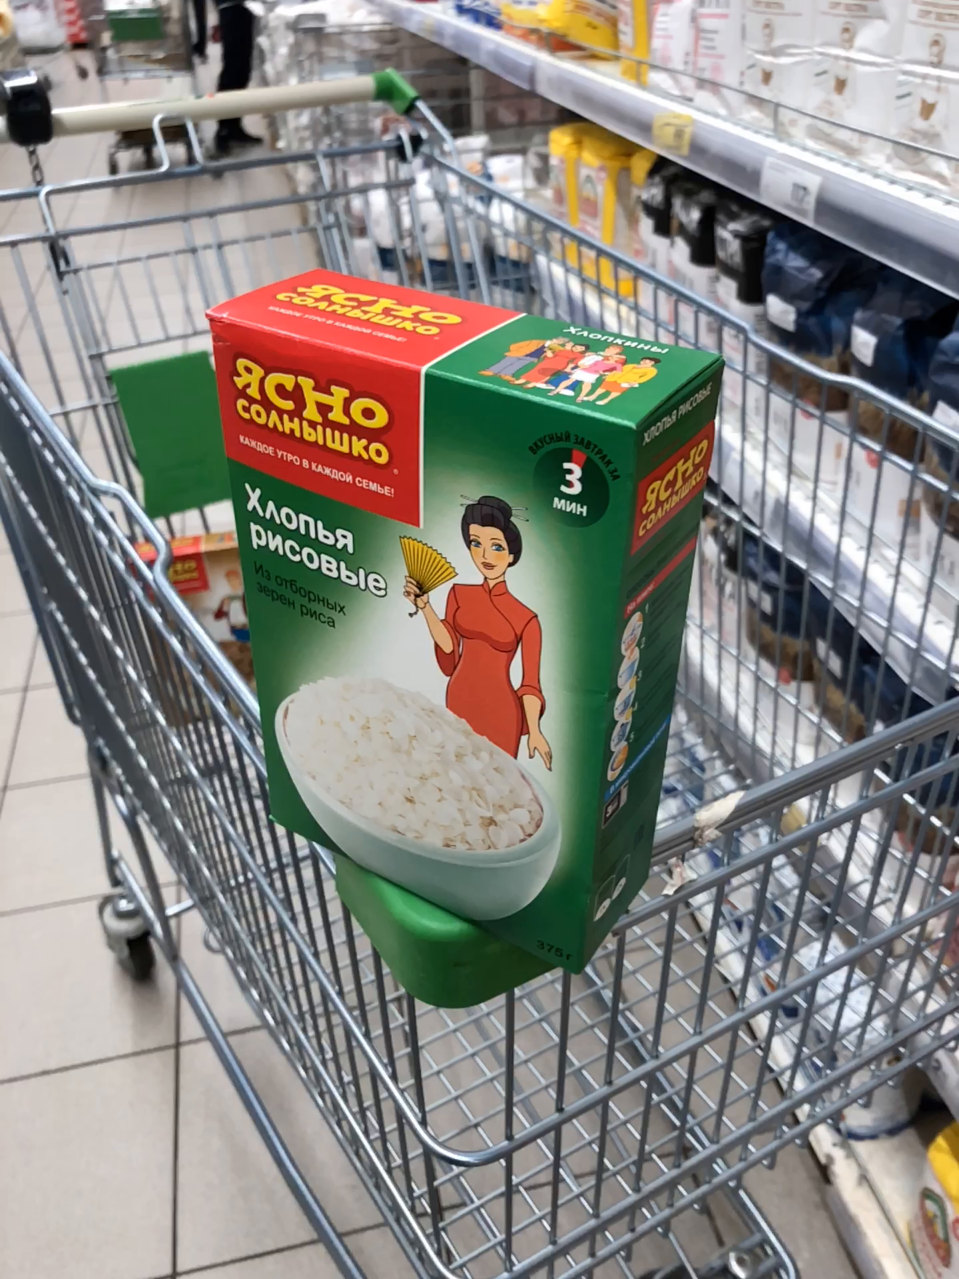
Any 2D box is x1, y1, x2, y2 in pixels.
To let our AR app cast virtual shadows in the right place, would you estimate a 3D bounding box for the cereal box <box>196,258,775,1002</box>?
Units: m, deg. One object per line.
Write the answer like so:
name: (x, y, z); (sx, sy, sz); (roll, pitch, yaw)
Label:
cereal box: (-0.002, -0.001, 0.320); (0.140, 0.189, 0.050); (20, 40, 27)
